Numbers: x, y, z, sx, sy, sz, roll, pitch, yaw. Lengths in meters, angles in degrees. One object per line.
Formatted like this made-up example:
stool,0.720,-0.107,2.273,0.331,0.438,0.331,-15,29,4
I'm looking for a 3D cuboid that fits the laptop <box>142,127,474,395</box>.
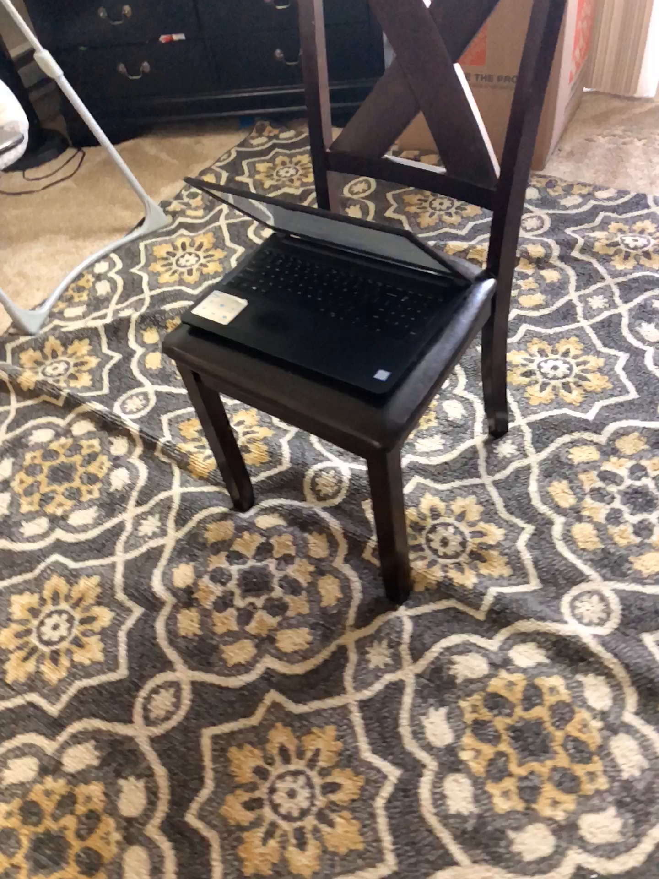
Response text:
laptop,-0.022,-0.264,1.019,0.367,0.185,0.245,22,56,25
